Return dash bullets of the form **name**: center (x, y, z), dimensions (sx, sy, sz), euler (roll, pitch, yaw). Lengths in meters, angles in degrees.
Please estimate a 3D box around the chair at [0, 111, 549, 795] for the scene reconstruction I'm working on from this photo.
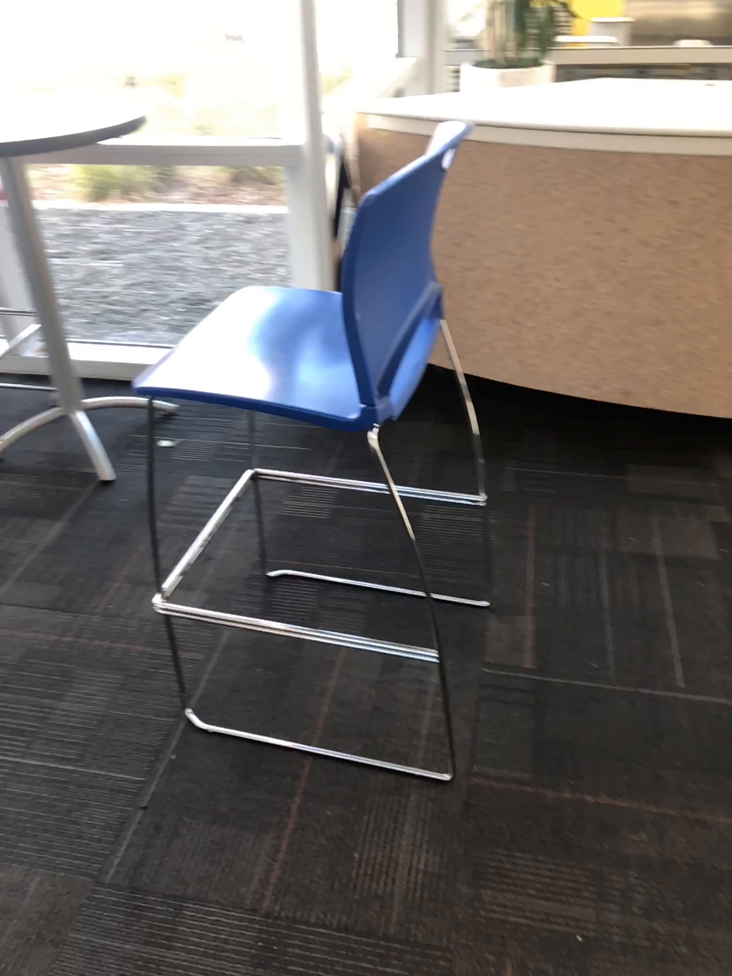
- **chair**: center (-0.058, -0.076, 1.388), dimensions (0.611, 0.965, 0.552), euler (7, 34, 15)
